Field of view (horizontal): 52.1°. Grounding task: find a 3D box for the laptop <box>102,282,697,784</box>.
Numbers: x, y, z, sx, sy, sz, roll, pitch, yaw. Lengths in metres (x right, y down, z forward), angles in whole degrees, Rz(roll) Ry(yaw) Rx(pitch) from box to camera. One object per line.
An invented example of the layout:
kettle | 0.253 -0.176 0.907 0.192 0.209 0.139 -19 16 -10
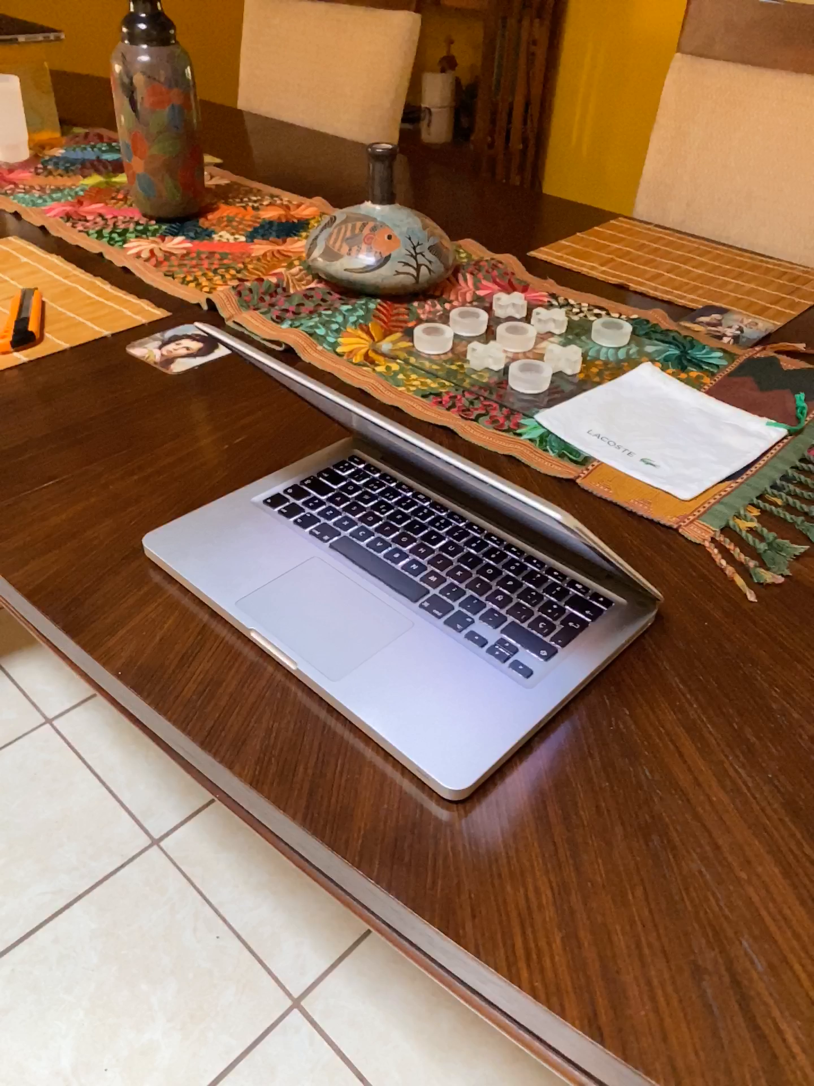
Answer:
laptop | -0.015 -0.037 0.581 0.322 0.152 0.213 30 46 31
